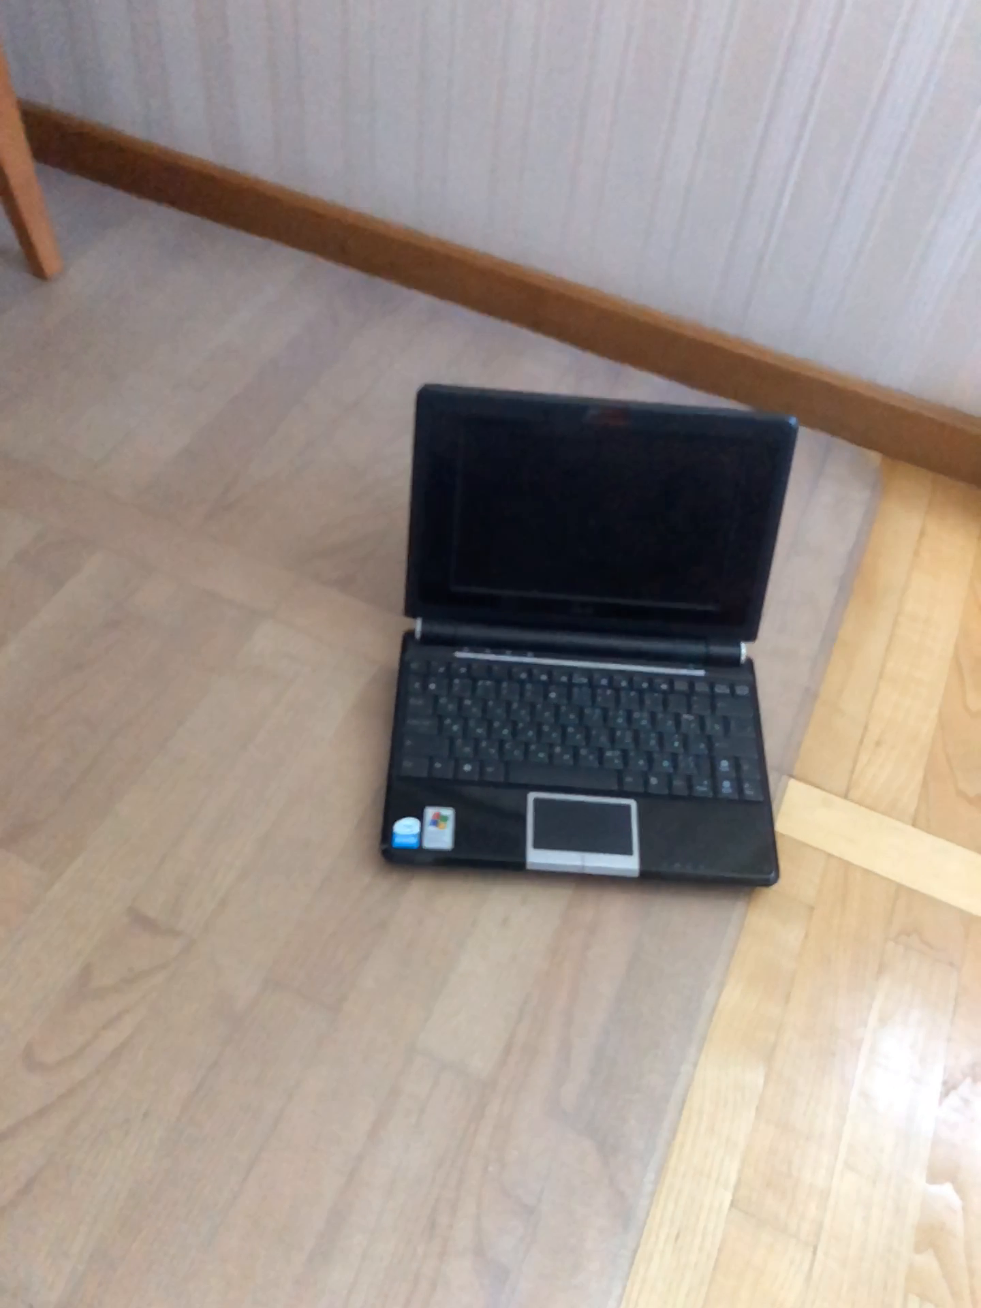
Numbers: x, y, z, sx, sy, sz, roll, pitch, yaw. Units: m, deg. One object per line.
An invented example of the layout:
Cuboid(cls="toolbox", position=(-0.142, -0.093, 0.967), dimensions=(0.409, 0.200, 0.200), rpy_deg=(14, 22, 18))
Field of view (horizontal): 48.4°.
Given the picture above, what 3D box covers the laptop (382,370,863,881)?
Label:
Cuboid(cls="laptop", position=(0.071, -0.022, 0.739), dimensions=(0.264, 0.159, 0.278), rpy_deg=(5, 54, -4))
